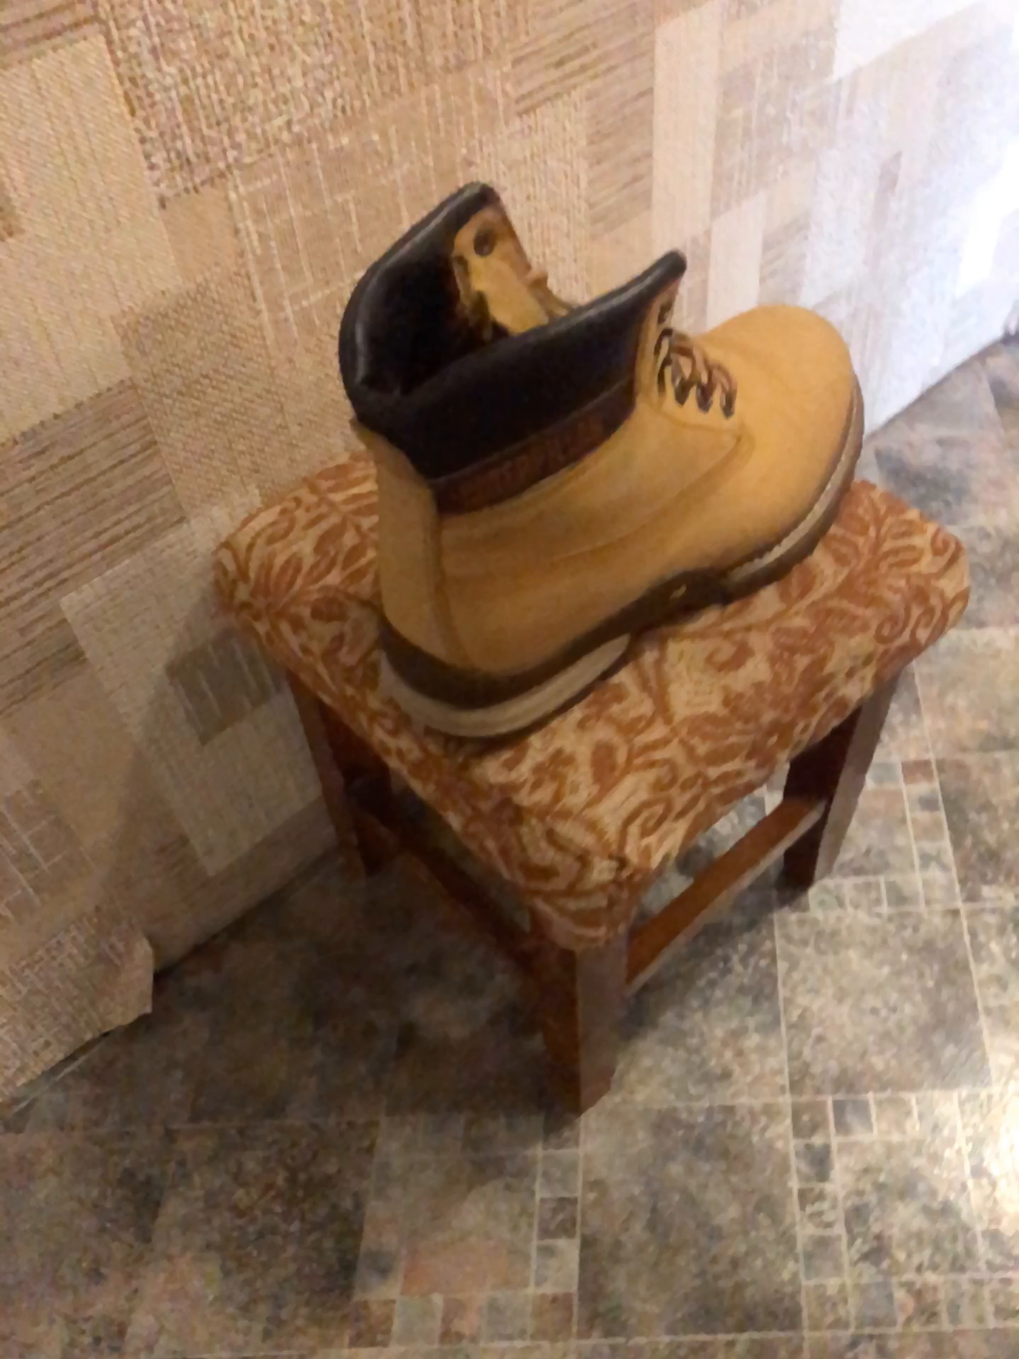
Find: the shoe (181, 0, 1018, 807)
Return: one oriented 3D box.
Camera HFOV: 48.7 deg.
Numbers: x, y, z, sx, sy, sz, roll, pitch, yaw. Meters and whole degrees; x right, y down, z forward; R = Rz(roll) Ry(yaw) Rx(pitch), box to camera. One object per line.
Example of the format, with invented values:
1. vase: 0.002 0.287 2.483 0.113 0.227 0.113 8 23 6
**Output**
1. shoe: 0.057 -0.134 0.476 0.310 0.189 0.140 -38 56 -24
